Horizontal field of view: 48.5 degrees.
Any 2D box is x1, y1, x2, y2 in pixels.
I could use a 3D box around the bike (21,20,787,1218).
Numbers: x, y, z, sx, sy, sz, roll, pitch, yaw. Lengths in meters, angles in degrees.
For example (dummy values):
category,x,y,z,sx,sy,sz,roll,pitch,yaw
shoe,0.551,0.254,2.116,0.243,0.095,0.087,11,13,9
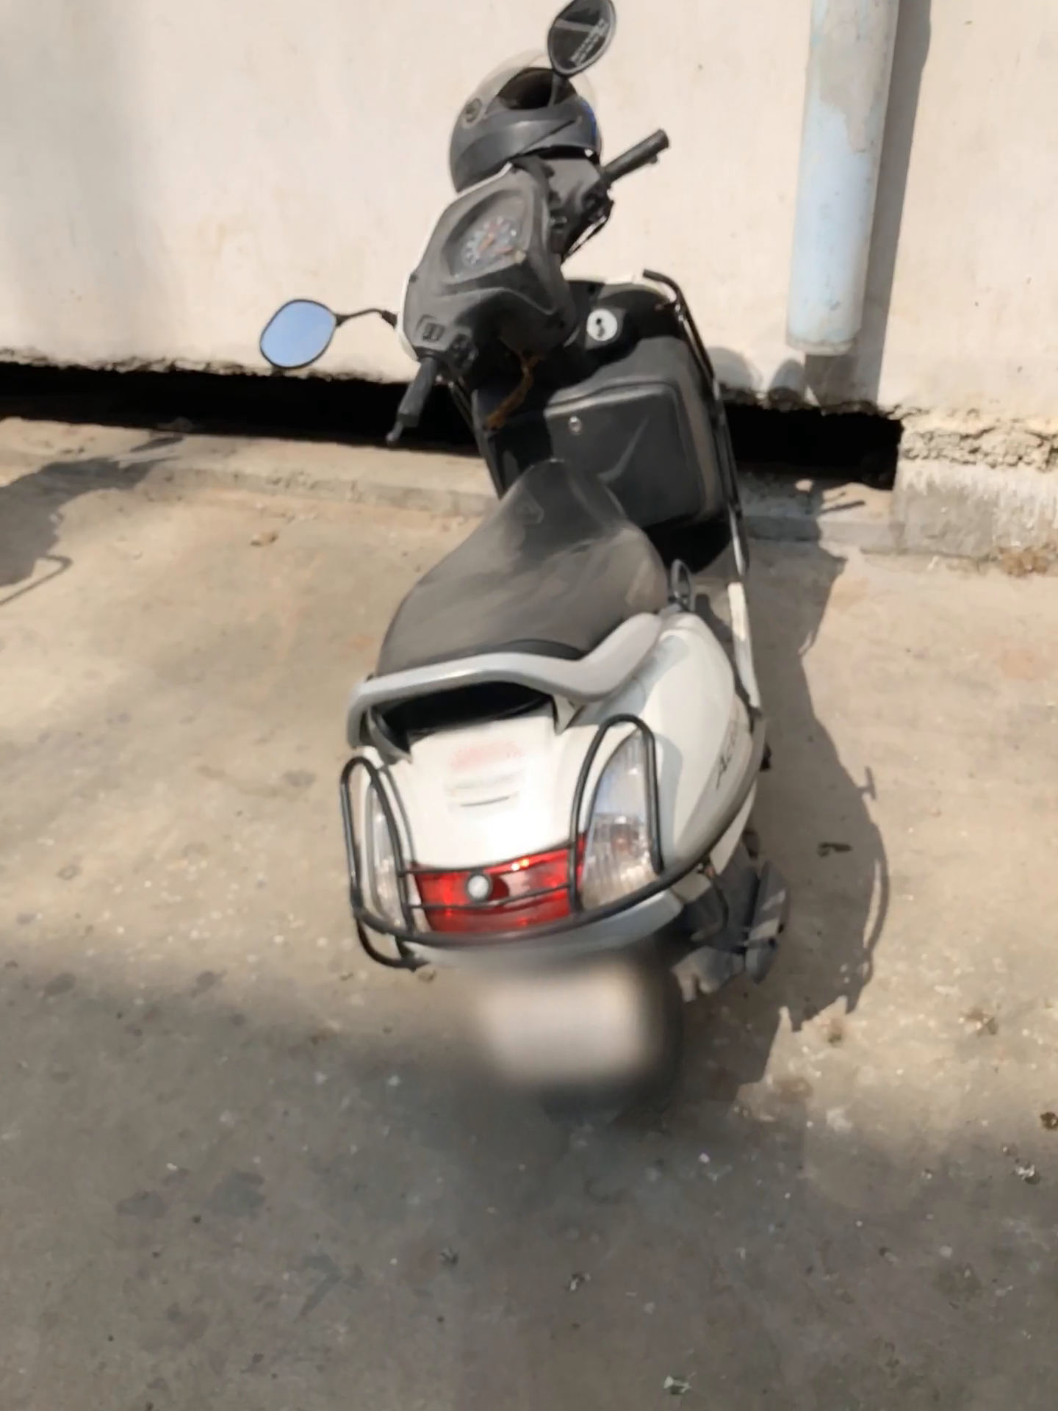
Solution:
category,x,y,z,sx,sy,sz,roll,pitch,yaw
bike,-0.163,-0.222,1.762,0.625,1.122,1.307,-5,39,-2
